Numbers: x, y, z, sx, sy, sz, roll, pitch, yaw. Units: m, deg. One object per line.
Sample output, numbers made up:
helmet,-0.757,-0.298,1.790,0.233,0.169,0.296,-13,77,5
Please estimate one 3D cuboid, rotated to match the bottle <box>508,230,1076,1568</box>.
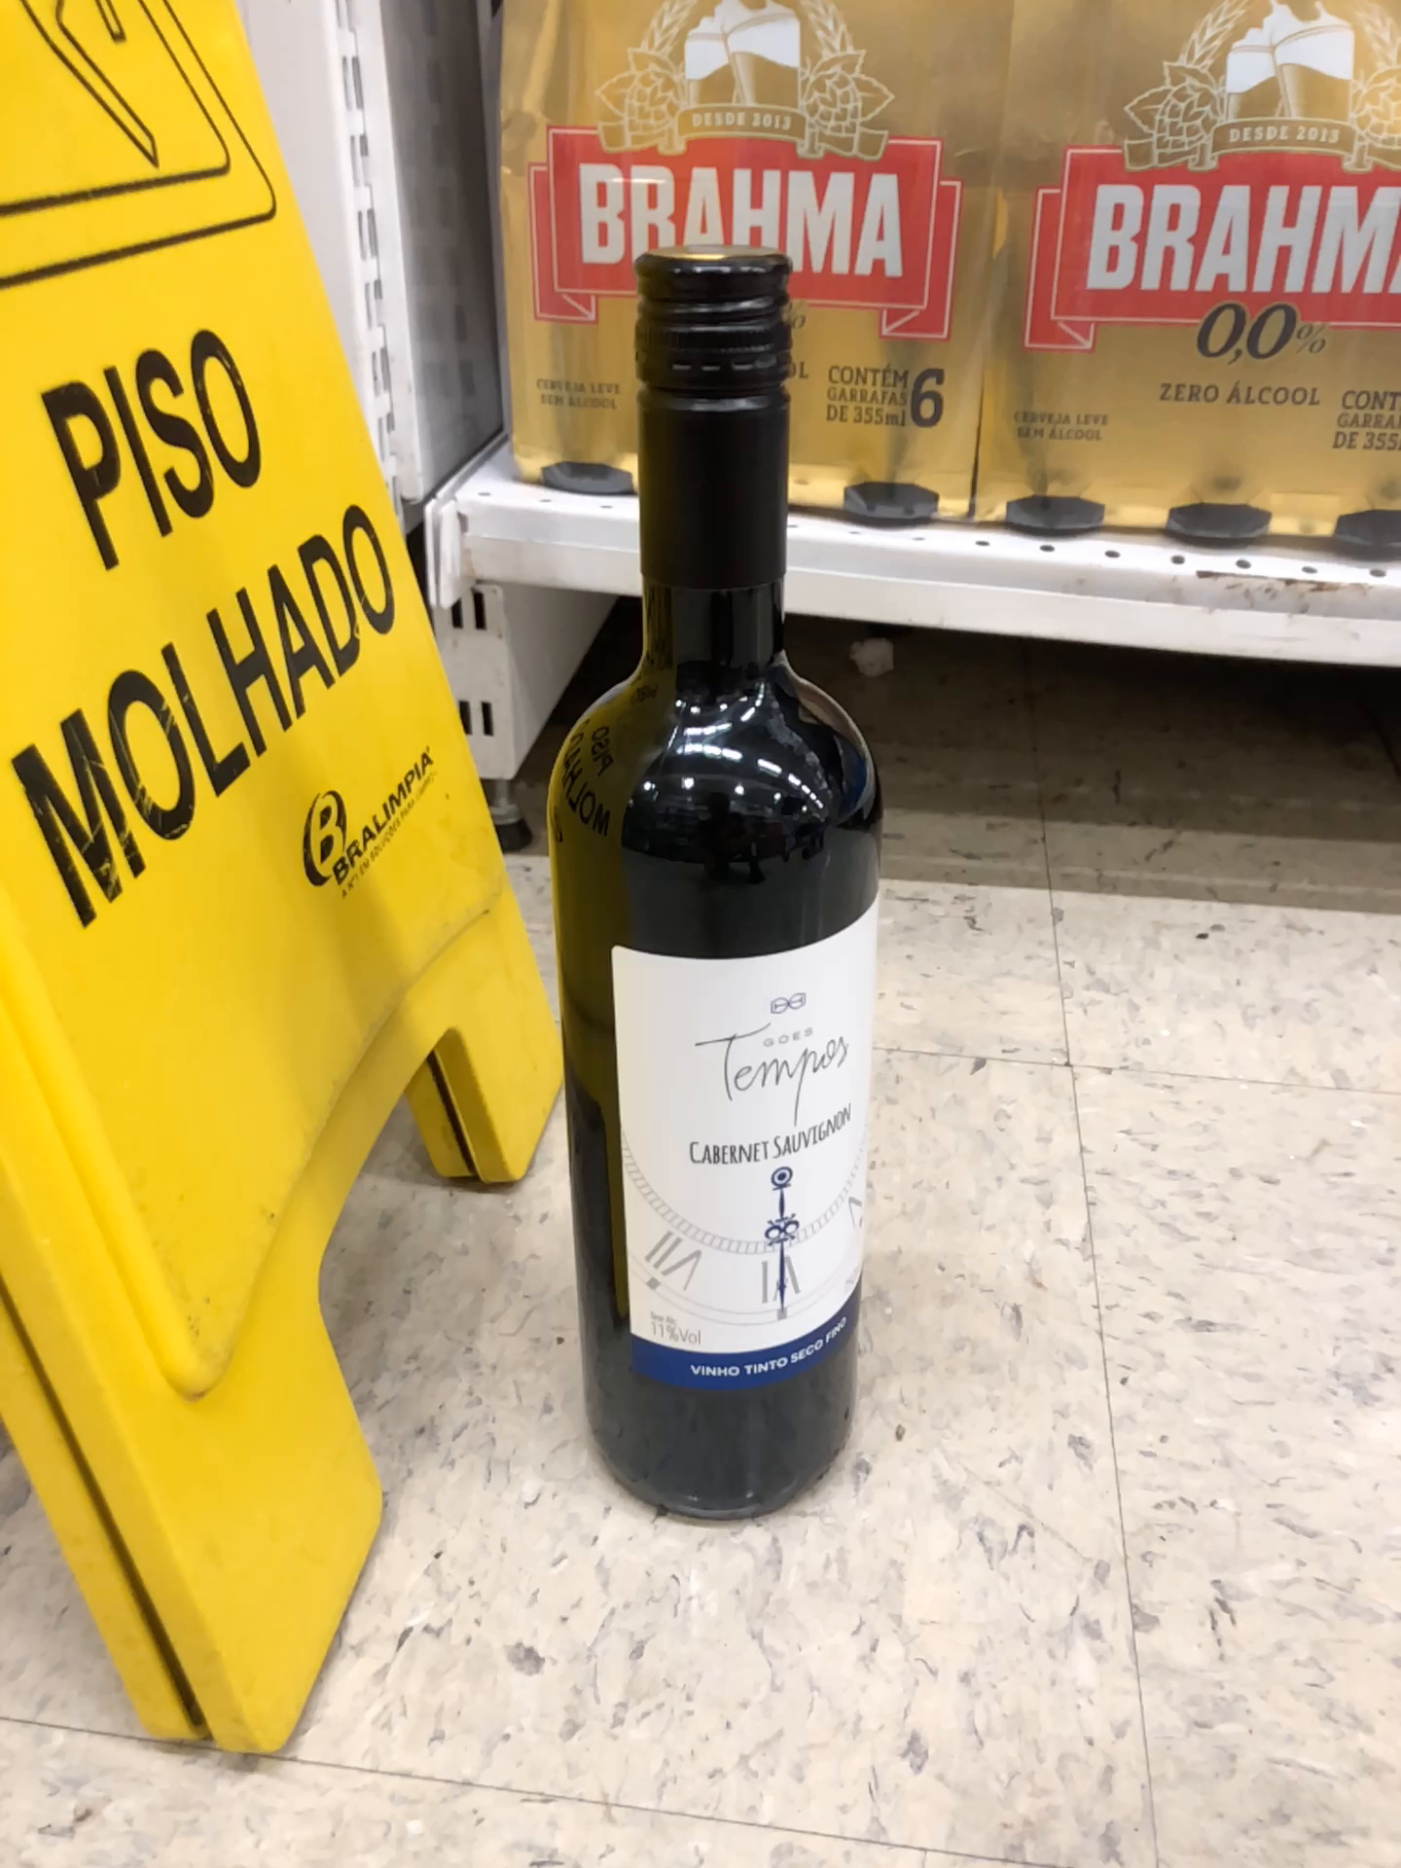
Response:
bottle,0.014,0.004,0.348,0.080,0.288,0.070,-11,31,-19
